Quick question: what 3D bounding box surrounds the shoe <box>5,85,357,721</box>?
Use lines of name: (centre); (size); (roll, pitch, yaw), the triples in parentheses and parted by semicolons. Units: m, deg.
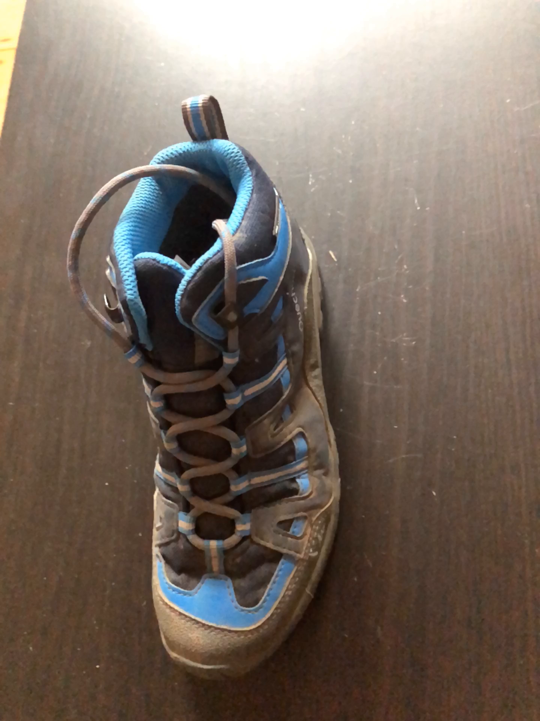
shoe: (-0.020, 0.024, 0.280); (0.100, 0.120, 0.250); (1, 77, 14)
